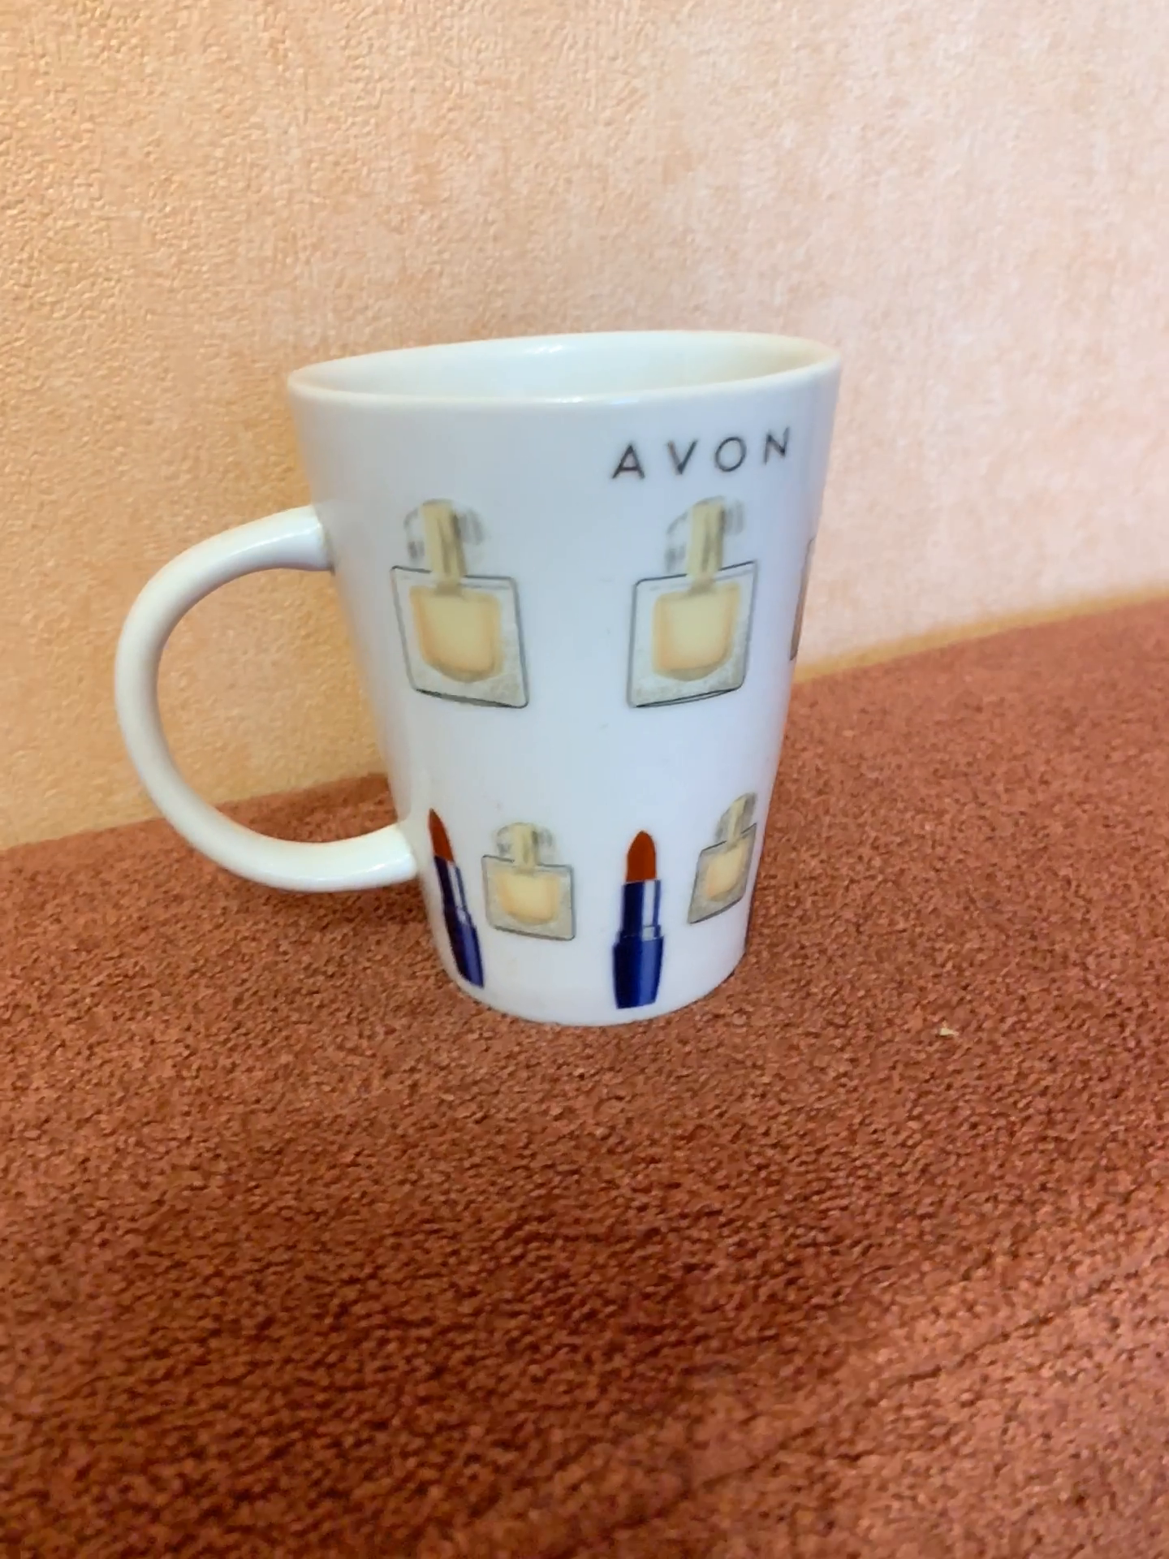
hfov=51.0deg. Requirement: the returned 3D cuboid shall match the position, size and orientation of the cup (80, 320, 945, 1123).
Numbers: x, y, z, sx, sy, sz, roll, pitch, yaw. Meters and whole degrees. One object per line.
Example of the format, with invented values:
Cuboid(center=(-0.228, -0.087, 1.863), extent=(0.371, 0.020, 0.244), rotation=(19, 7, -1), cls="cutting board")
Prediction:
Cuboid(center=(-0.013, -0.017, 0.193), extent=(0.103, 0.093, 0.071), rotation=(-8, 27, -14), cls="cup")
